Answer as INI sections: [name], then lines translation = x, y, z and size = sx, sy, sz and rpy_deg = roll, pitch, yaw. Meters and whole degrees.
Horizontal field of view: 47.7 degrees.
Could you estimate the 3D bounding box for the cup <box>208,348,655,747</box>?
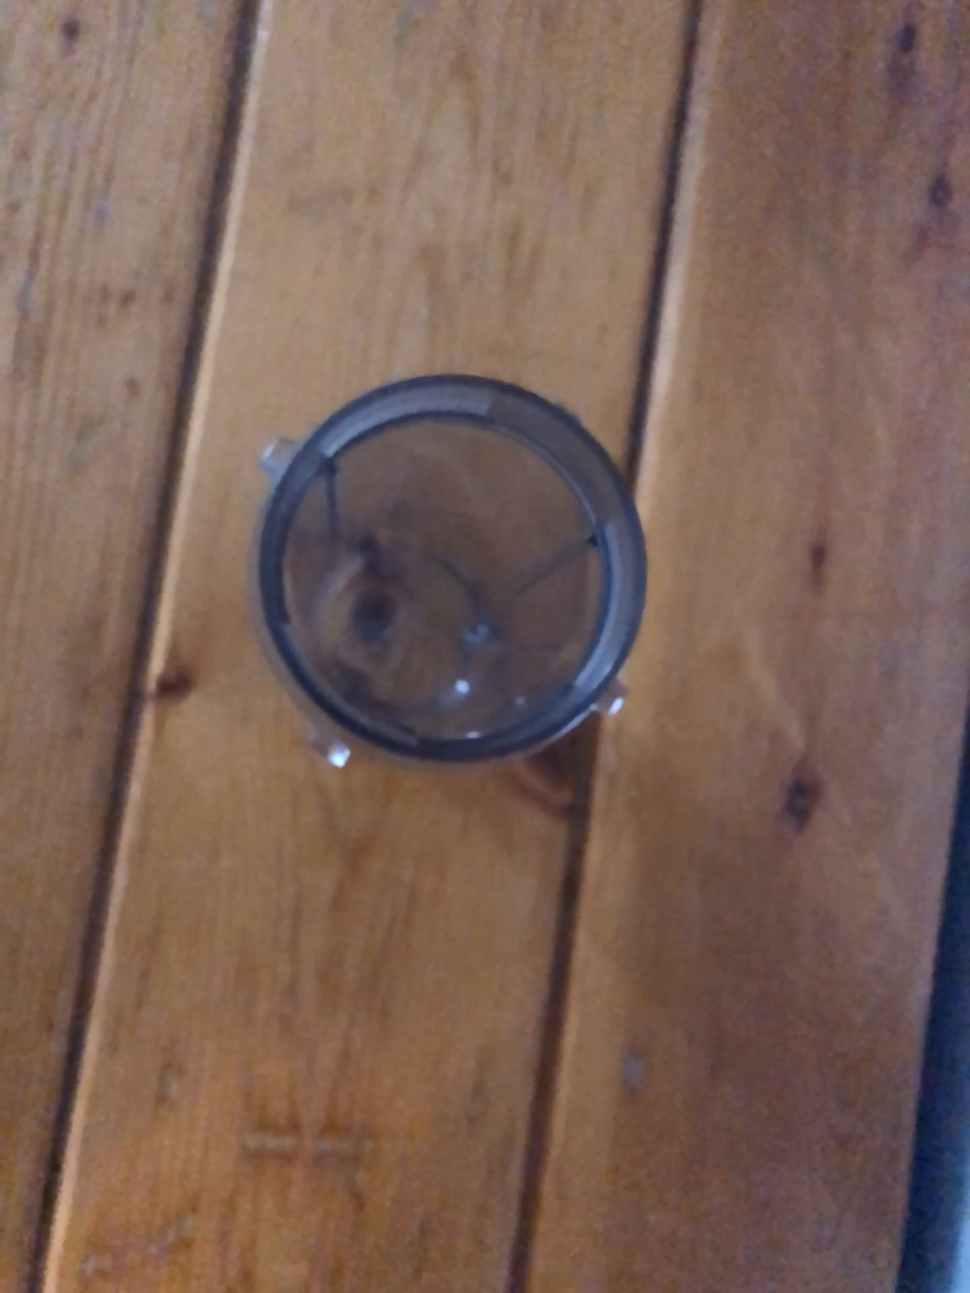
[cup]
translation = -0.019, -0.014, 0.317
size = 0.090, 0.190, 0.080
rpy_deg = 0, 86, -6
